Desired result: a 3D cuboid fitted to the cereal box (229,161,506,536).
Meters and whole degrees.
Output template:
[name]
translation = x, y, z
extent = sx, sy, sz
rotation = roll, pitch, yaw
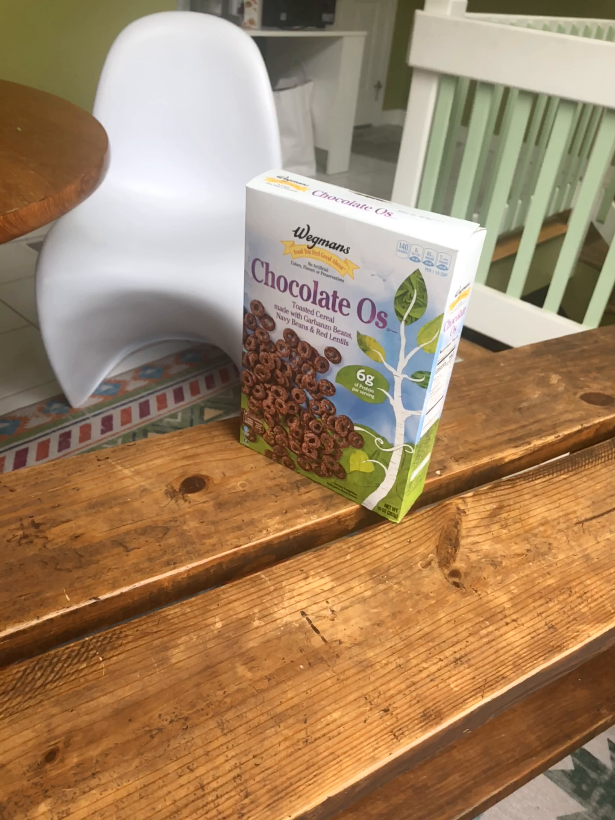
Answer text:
[cereal box]
translation = 0.033, -0.051, 0.607
extent = 0.210, 0.278, 0.060
rotation = 24, 39, 24
